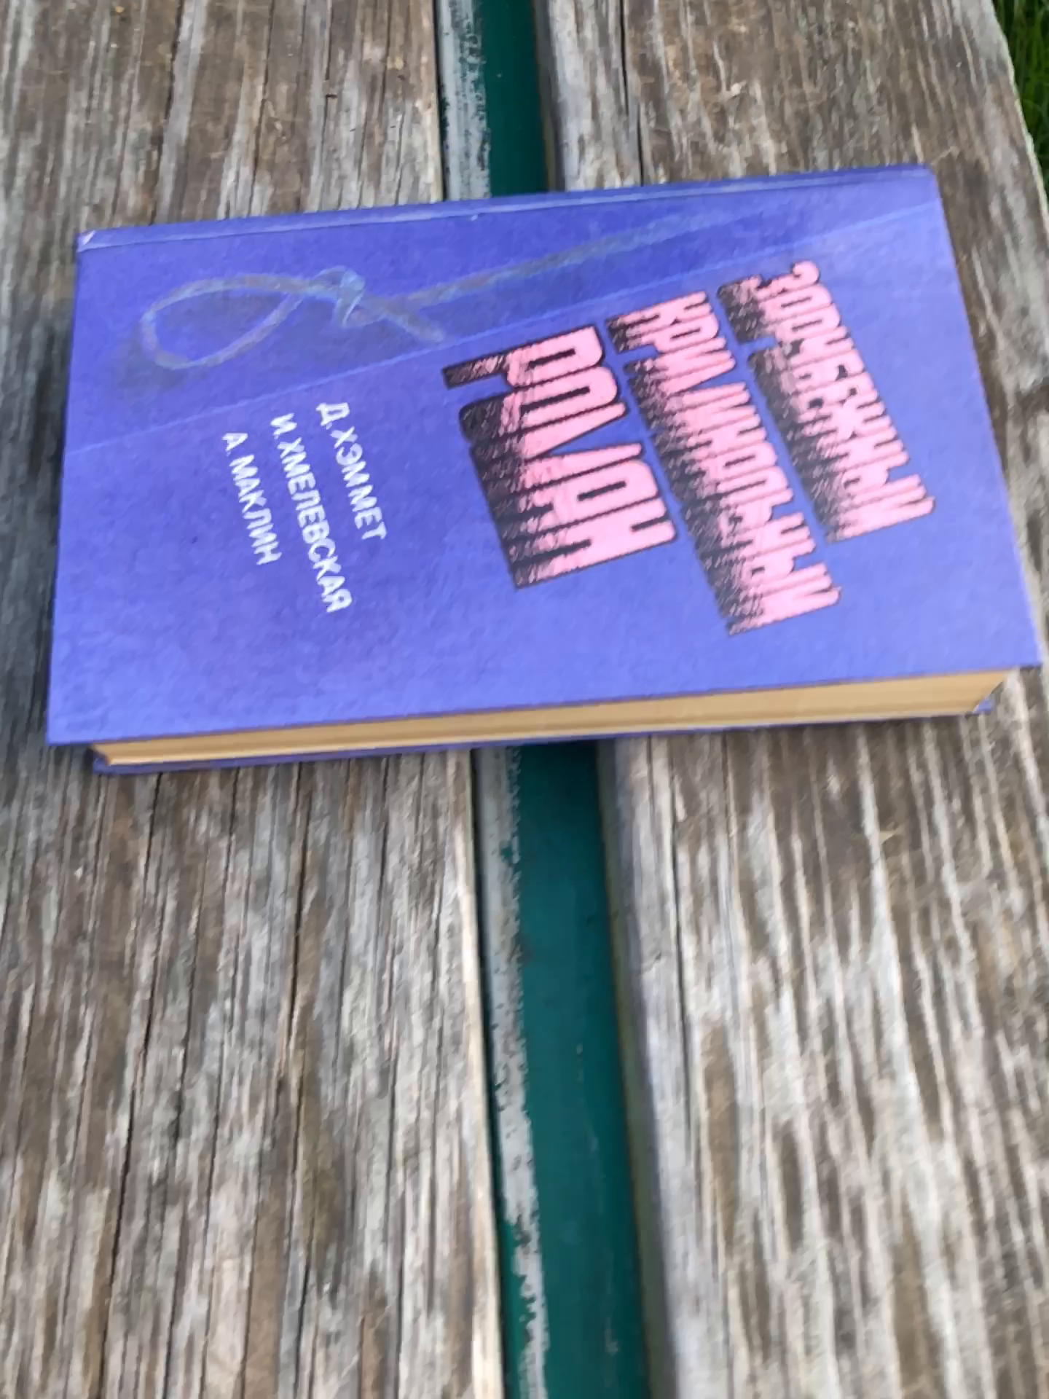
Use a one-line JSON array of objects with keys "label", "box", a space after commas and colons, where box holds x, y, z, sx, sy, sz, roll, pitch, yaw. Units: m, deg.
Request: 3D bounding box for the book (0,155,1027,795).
[{"label": "book", "box": [-0.008, -0.052, 0.264, 0.204, 0.030, 0.131, -4, 71, 1]}]
